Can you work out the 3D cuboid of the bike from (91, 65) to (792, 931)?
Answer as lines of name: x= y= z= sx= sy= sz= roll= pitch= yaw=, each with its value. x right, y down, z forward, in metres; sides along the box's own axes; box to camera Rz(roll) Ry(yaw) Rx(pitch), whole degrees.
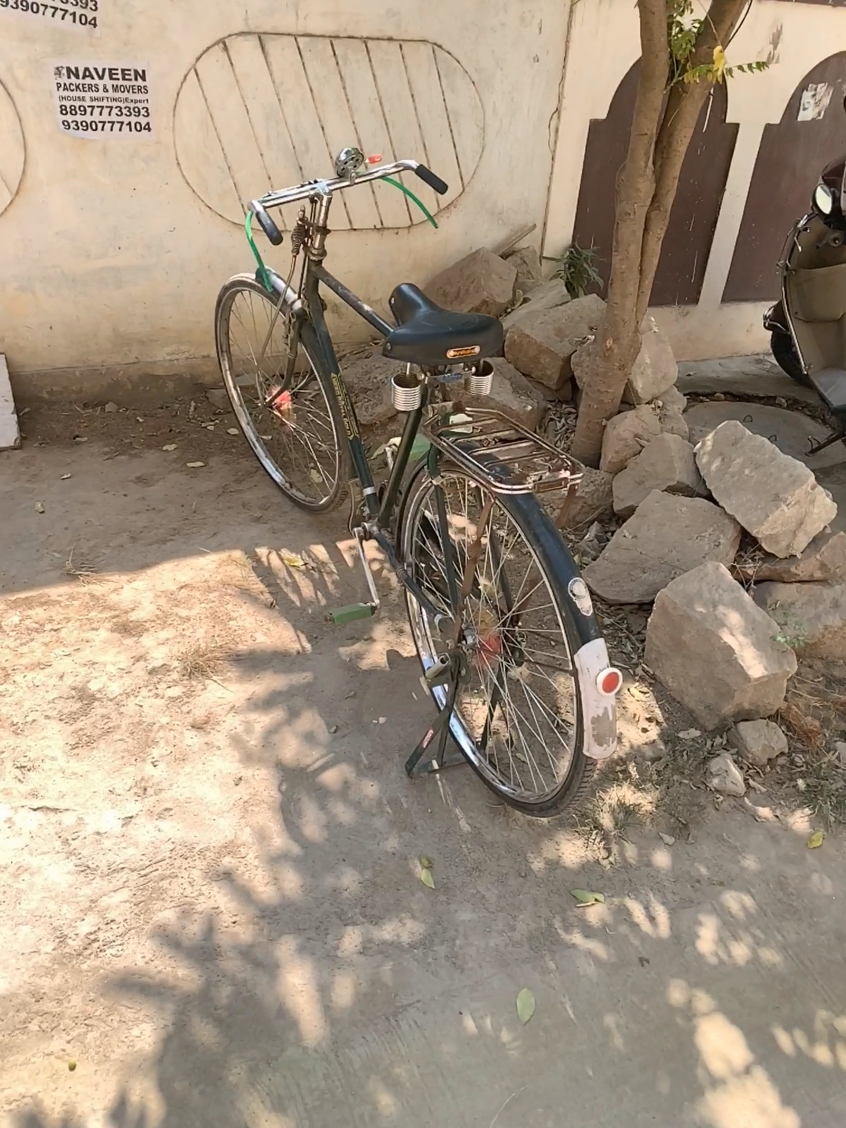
bike: x=-0.170 y=-0.312 z=1.843 sx=0.465 sy=0.994 sz=1.659 roll=-16 pitch=42 yaw=-27
